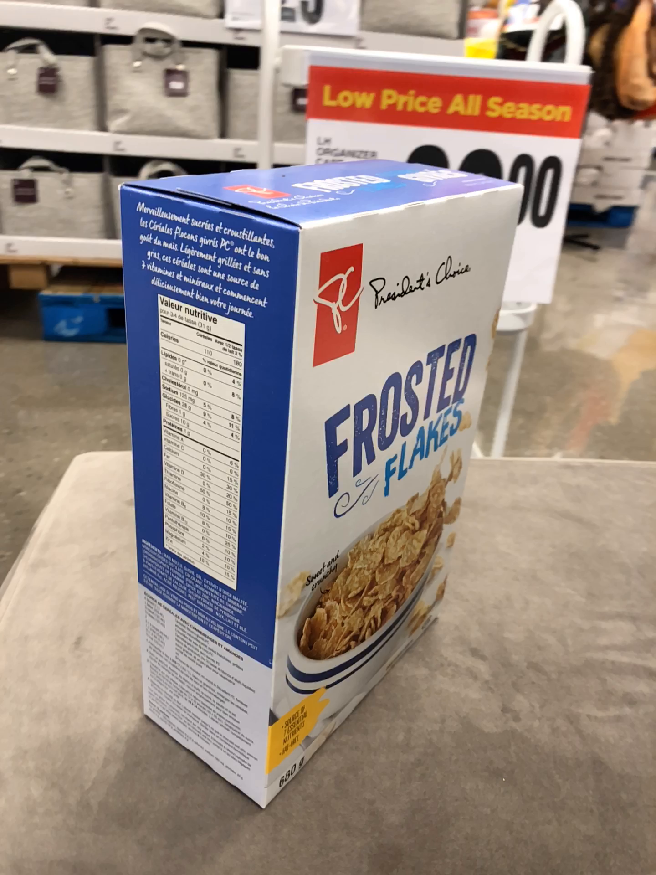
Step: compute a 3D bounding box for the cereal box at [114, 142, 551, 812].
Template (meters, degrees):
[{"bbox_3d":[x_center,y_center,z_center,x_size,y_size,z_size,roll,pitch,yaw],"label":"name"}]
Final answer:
[{"bbox_3d":[0.007,0.005,0.392,0.100,0.289,0.201,21,31,29],"label":"cereal box"}]
